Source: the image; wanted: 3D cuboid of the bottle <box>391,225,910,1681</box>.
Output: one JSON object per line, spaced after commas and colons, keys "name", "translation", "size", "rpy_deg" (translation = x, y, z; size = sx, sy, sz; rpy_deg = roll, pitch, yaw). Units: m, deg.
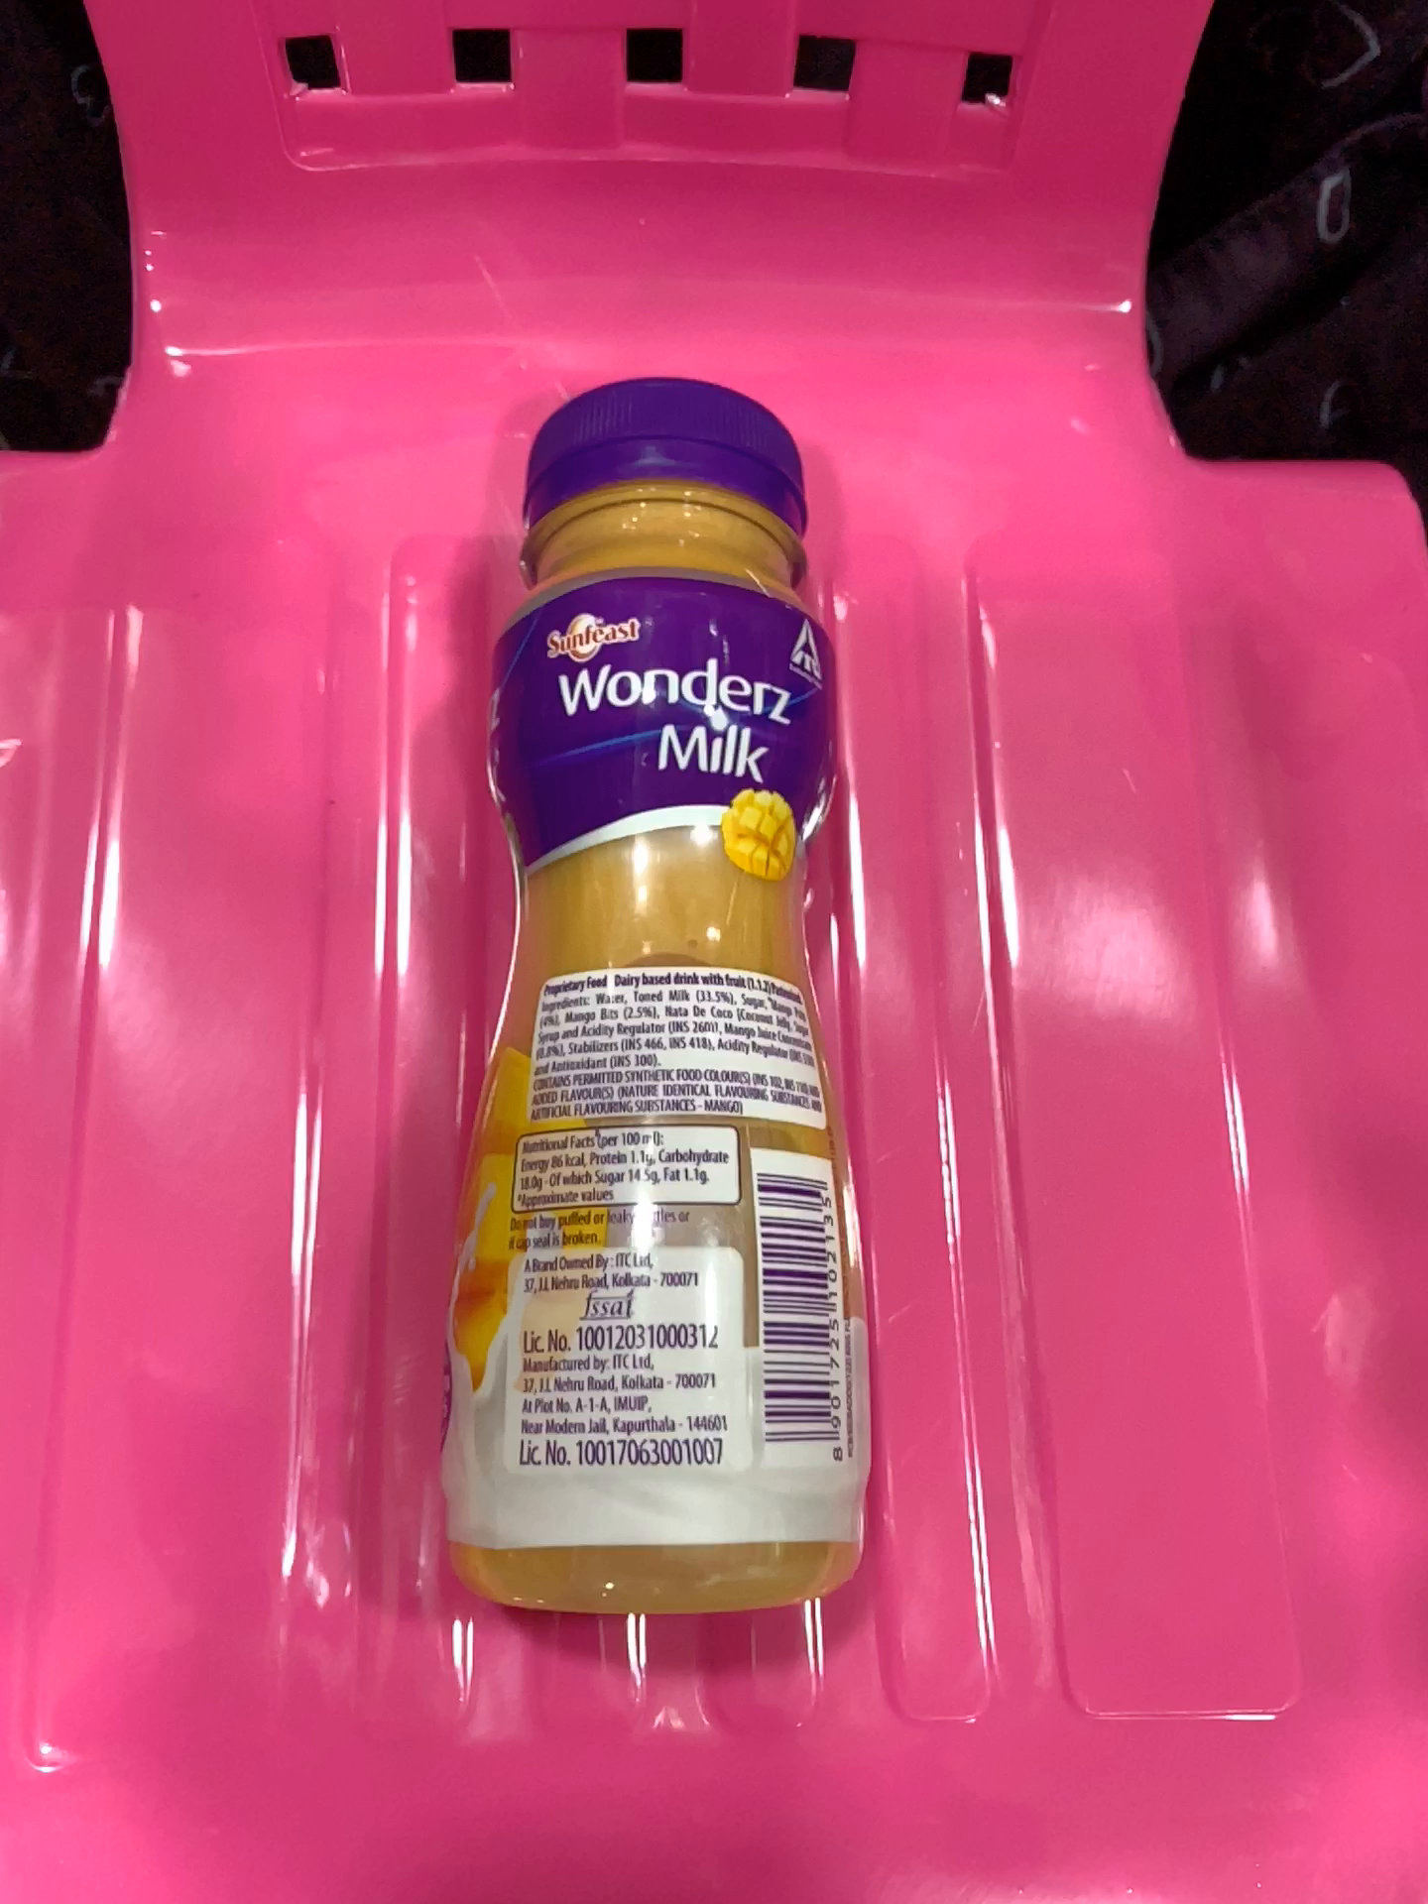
{"name": "bottle", "translation": [-0.008, -0.003, 0.186], "size": [0.050, 0.050, 0.160], "rpy_deg": [0, 78, -2]}
